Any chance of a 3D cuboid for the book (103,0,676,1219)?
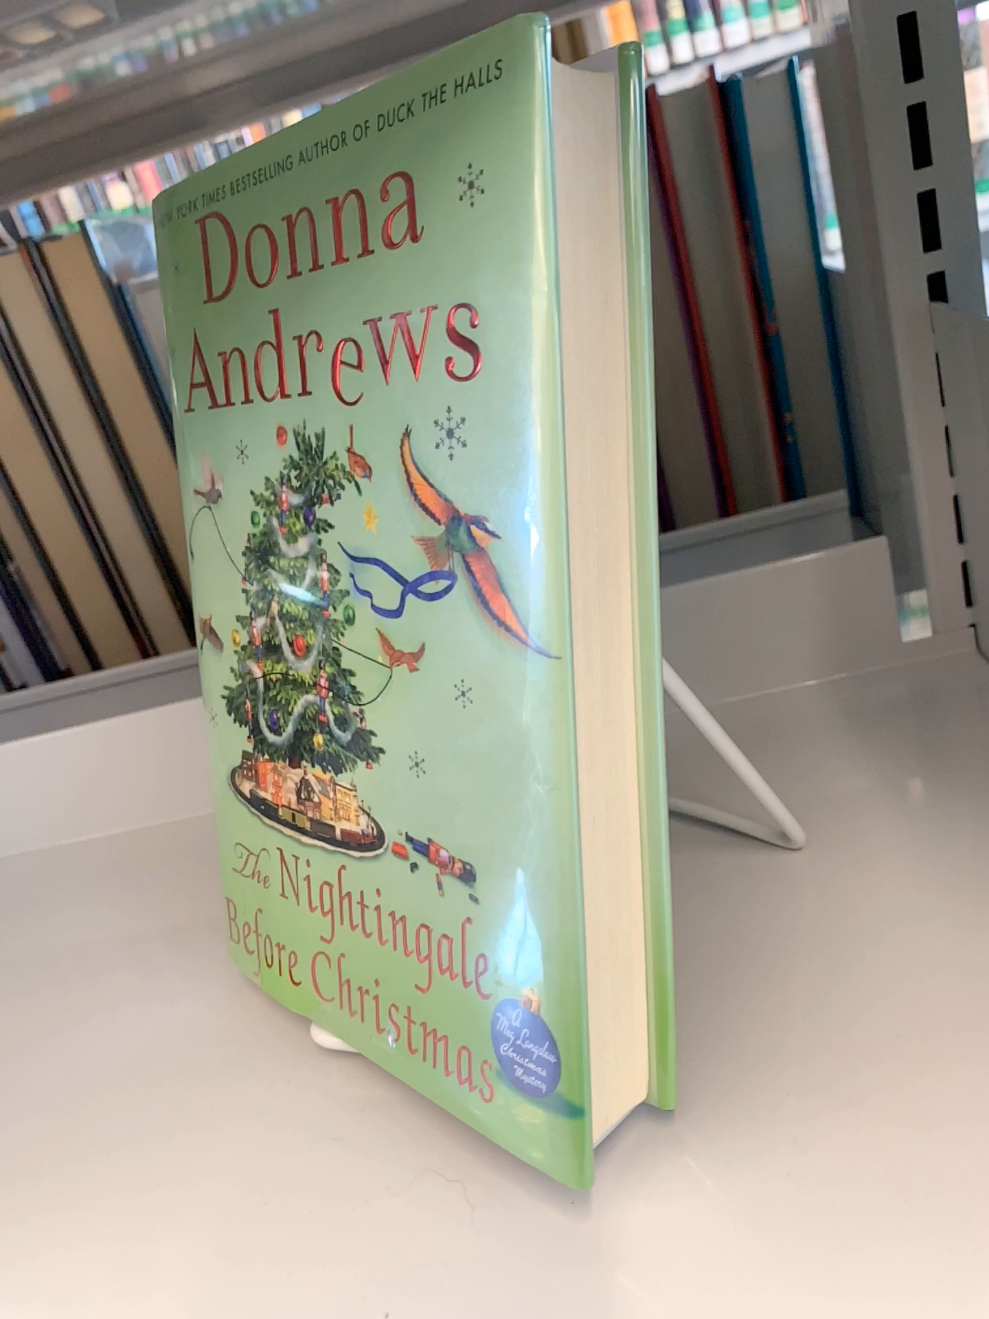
[{"bbox_3d":[-0.030,-0.011,0.232,0.040,0.200,0.145,-11,13,-41],"label":"book"}]
